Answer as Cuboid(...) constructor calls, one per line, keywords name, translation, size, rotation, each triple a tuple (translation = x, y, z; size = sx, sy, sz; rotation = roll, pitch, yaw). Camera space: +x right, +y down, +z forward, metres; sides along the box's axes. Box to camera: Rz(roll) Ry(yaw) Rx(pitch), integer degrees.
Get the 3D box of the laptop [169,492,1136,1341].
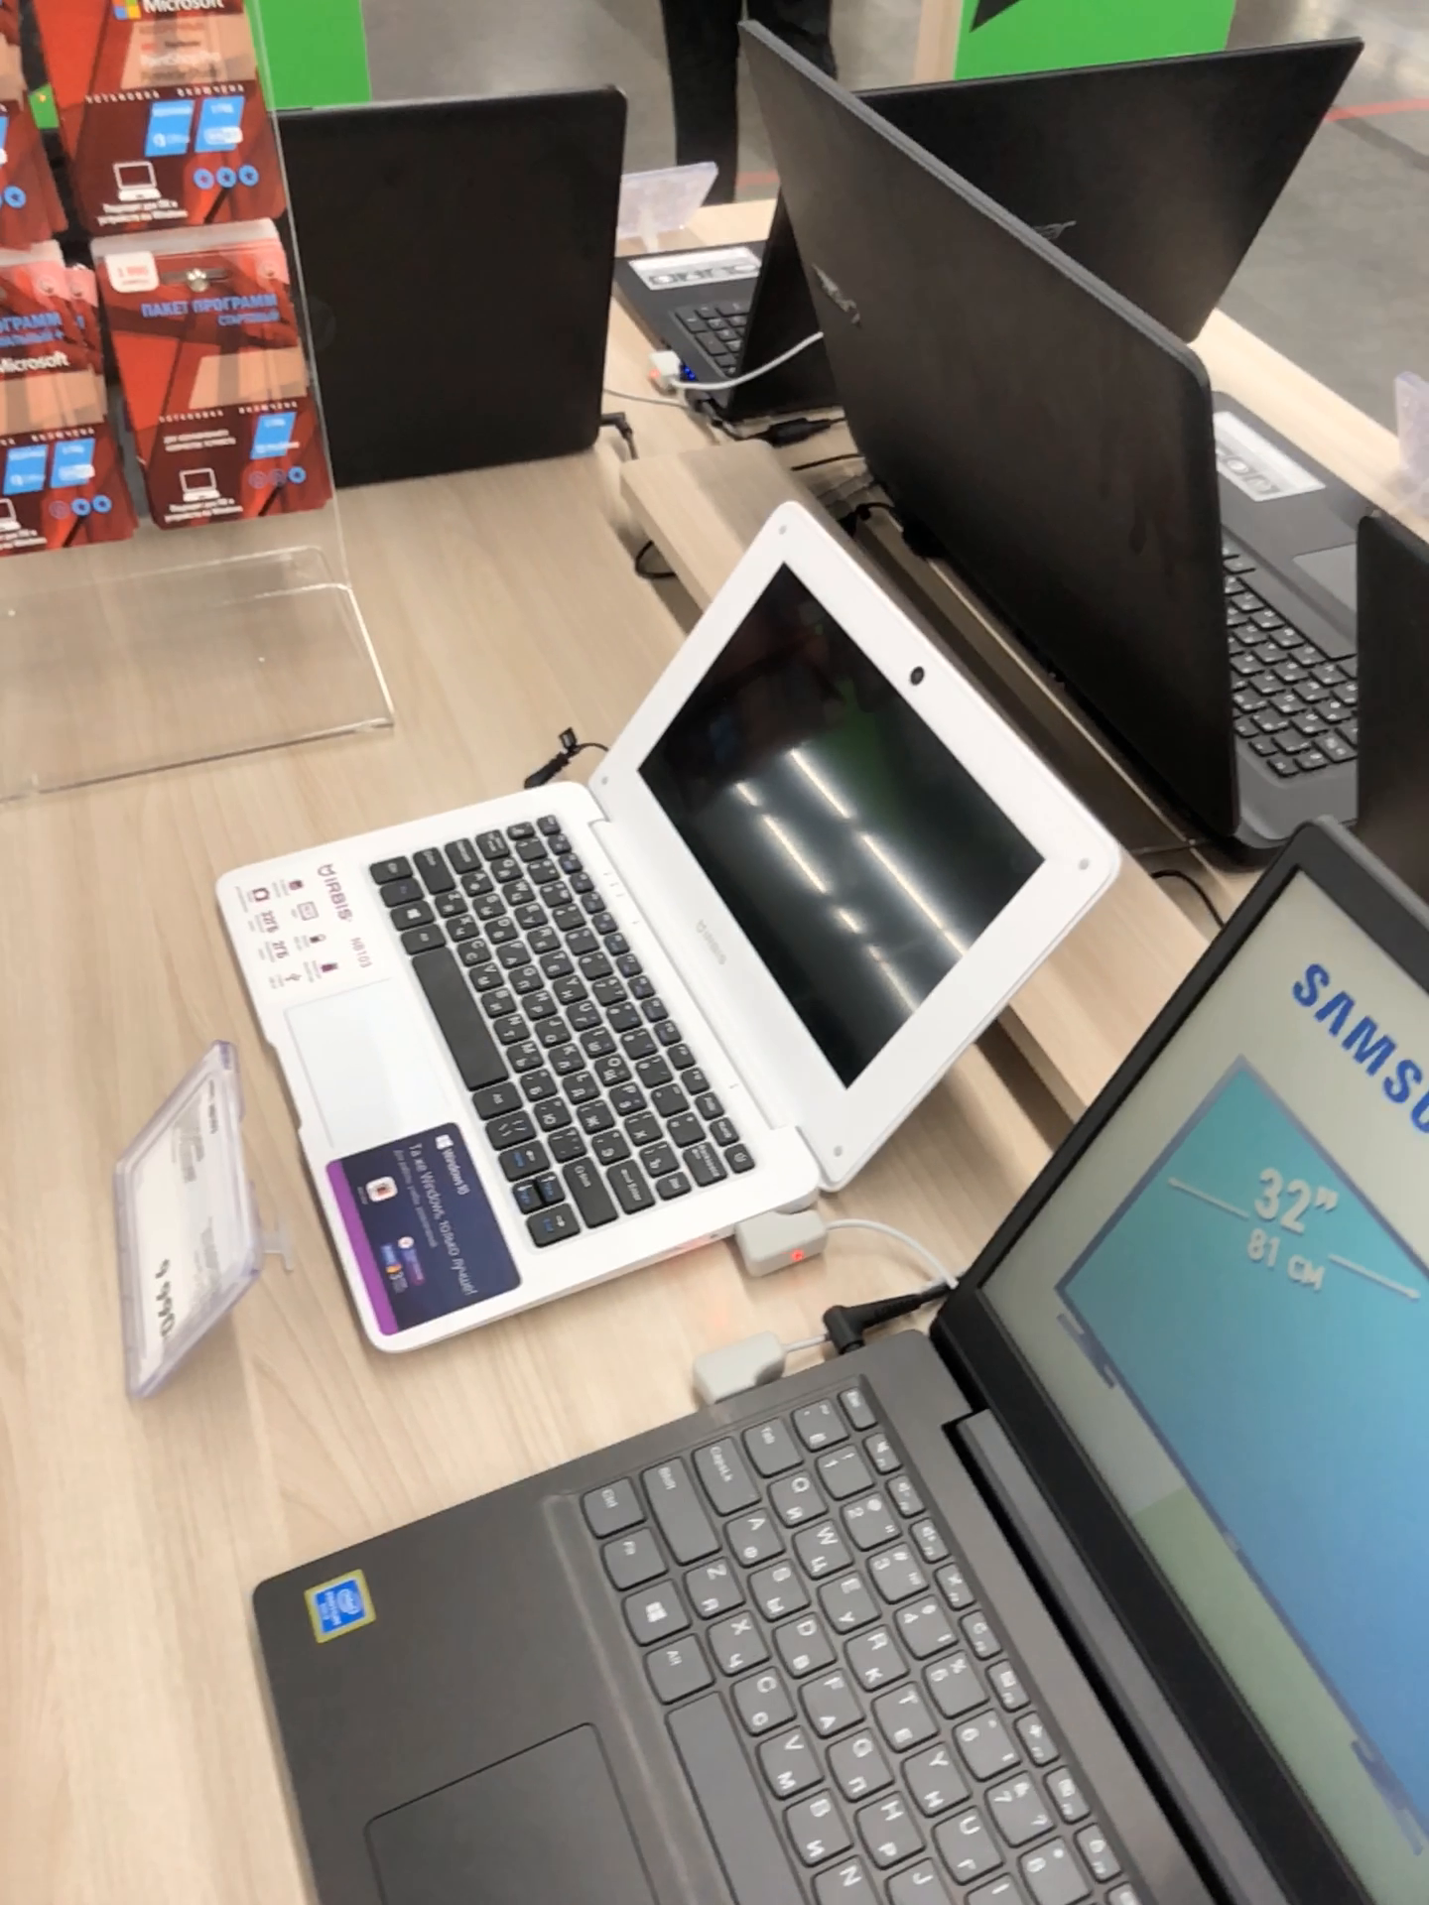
Cuboid(name="laptop", translation=(-0.045, -0.041, 0.709), size=(0.317, 0.144, 0.297), rotation=(-17, 47, -16))
